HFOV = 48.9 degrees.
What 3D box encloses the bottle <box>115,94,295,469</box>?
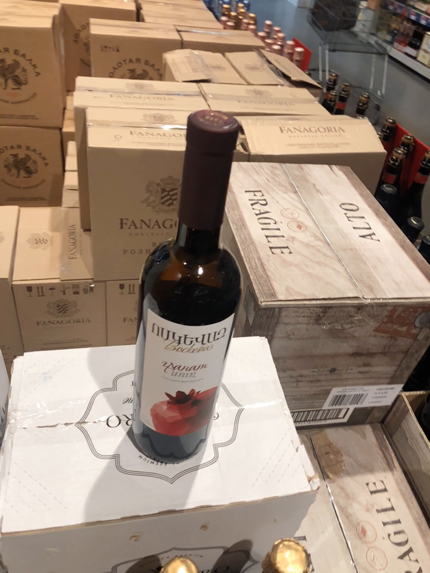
[{"bbox_3d":[-0.023,0.023,0.362,0.090,0.298,0.081,4,40,-6],"label":"bottle"}]
